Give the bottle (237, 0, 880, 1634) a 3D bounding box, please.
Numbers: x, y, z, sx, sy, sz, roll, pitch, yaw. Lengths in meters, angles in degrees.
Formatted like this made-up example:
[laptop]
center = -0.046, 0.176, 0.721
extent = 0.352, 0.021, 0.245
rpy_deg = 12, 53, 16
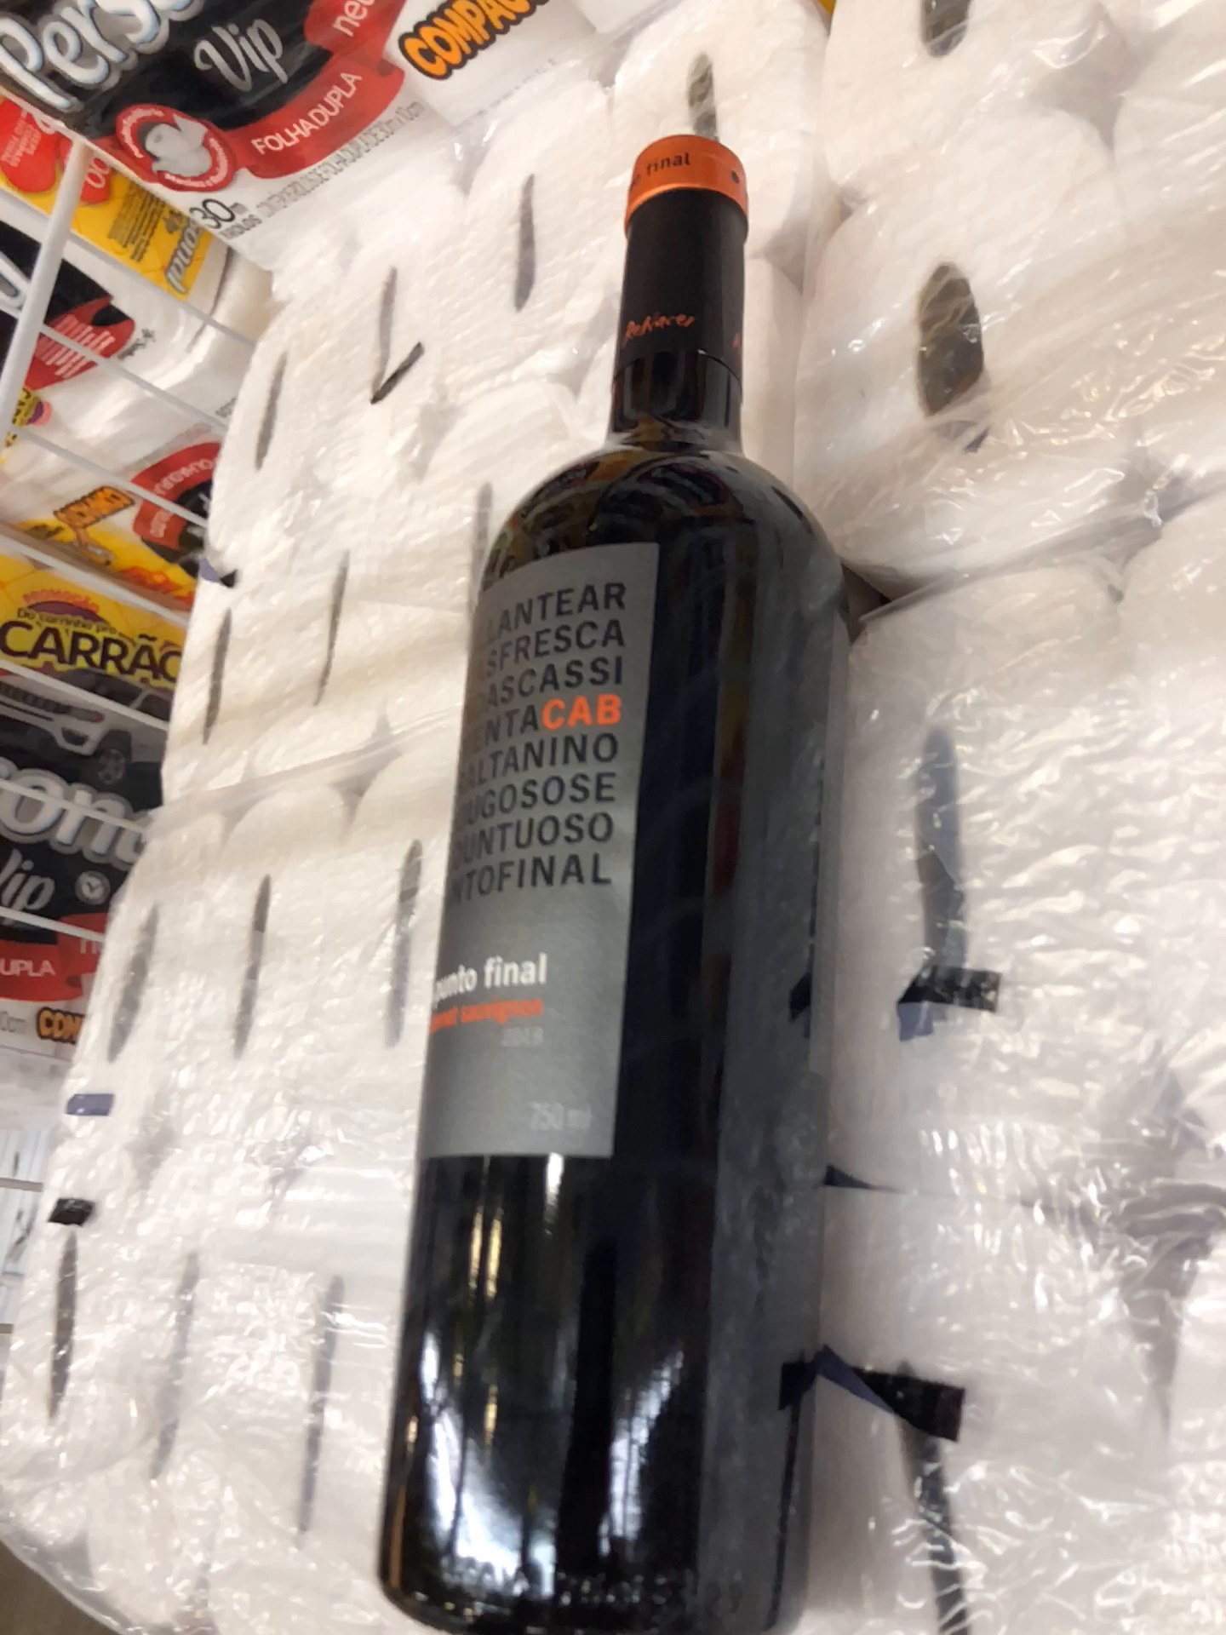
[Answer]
[bottle]
center = 0.002, -0.020, 0.262
extent = 0.070, 0.060, 0.310
rpy_deg = -14, 61, 41
